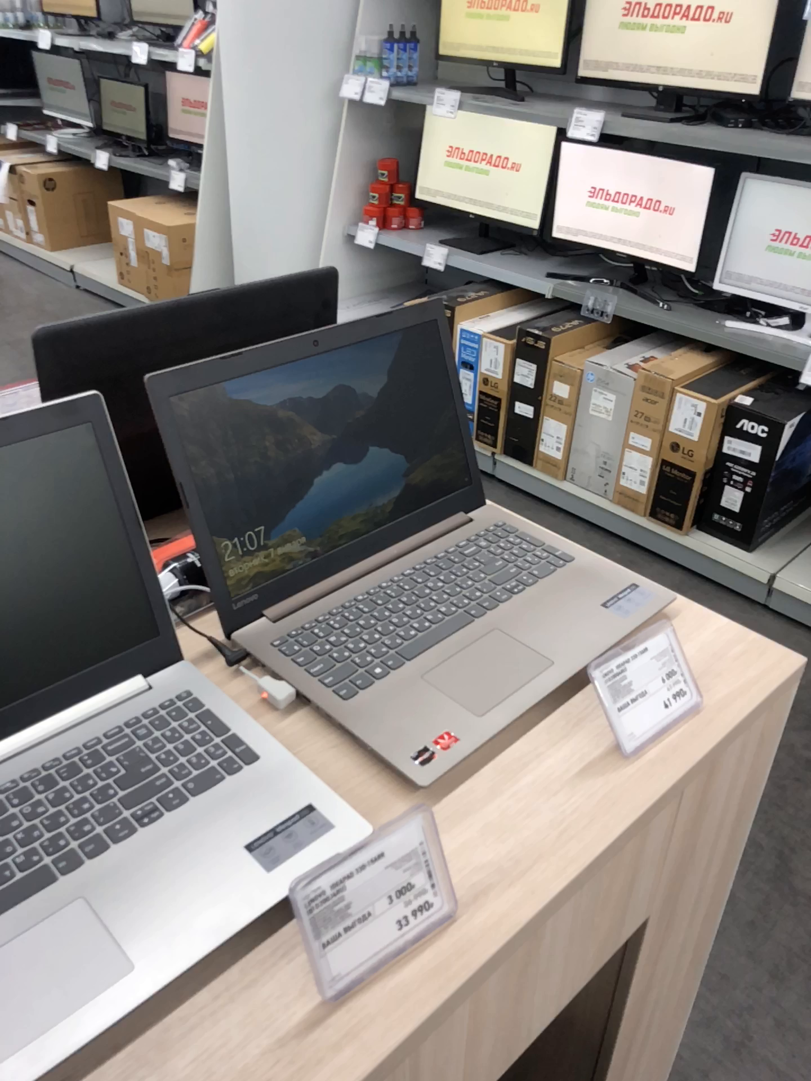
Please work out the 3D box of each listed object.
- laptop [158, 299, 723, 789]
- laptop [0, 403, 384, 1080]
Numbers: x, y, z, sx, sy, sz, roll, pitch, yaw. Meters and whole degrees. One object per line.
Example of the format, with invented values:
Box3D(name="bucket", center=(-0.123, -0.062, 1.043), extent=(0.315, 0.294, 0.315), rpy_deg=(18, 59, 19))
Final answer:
Box3D(name="laptop", center=(0.029, -0.039, 0.798), extent=(0.351, 0.209, 0.329), rpy_deg=(-27, 42, -38))
Box3D(name="laptop", center=(-0.257, 0.099, 0.541), extent=(0.323, 0.207, 0.344), rpy_deg=(28, 39, 35))
